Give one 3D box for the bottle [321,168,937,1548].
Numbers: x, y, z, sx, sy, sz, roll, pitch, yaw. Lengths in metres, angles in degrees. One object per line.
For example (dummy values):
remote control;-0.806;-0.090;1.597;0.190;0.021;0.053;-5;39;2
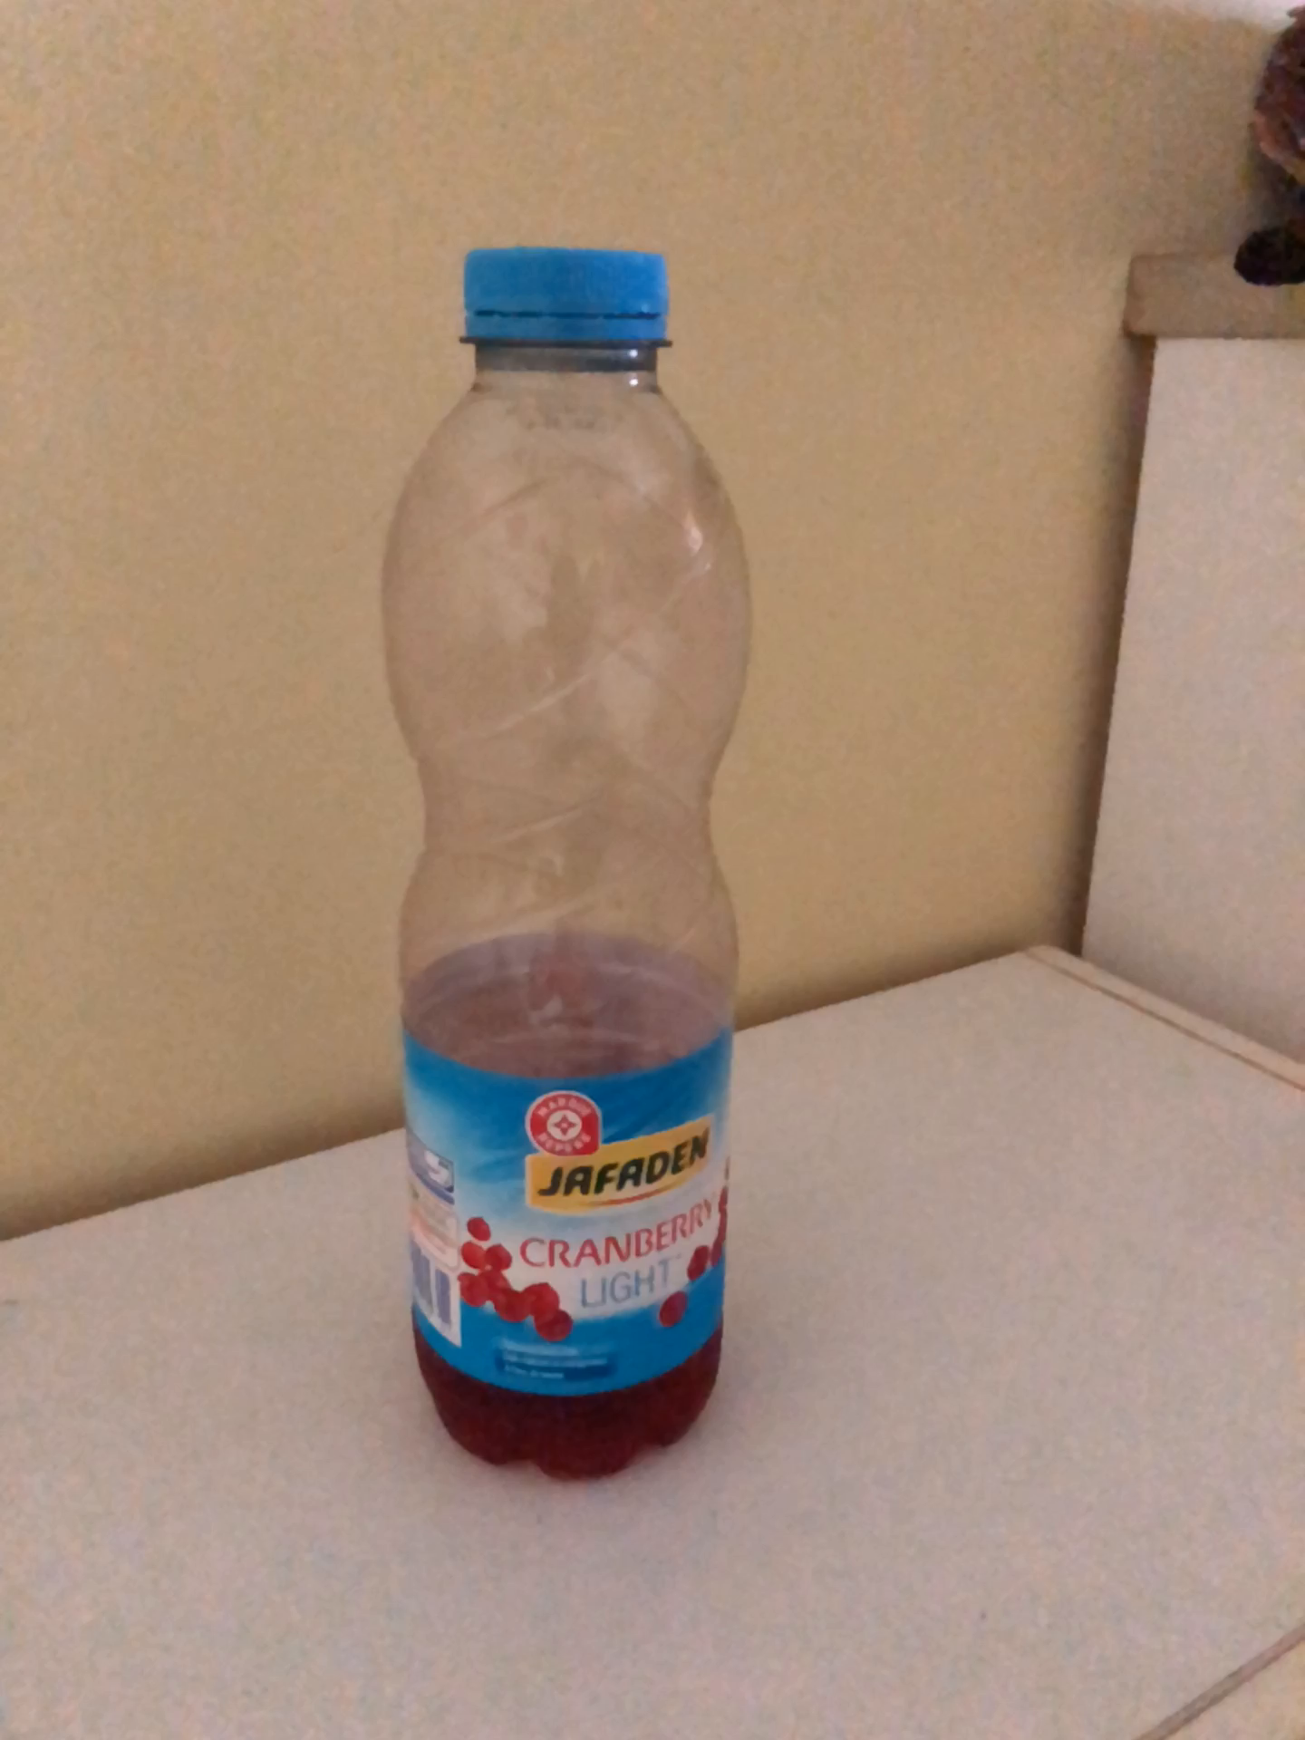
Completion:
bottle;-0.009;0.000;0.321;0.090;0.269;0.080;-10;22;-27
